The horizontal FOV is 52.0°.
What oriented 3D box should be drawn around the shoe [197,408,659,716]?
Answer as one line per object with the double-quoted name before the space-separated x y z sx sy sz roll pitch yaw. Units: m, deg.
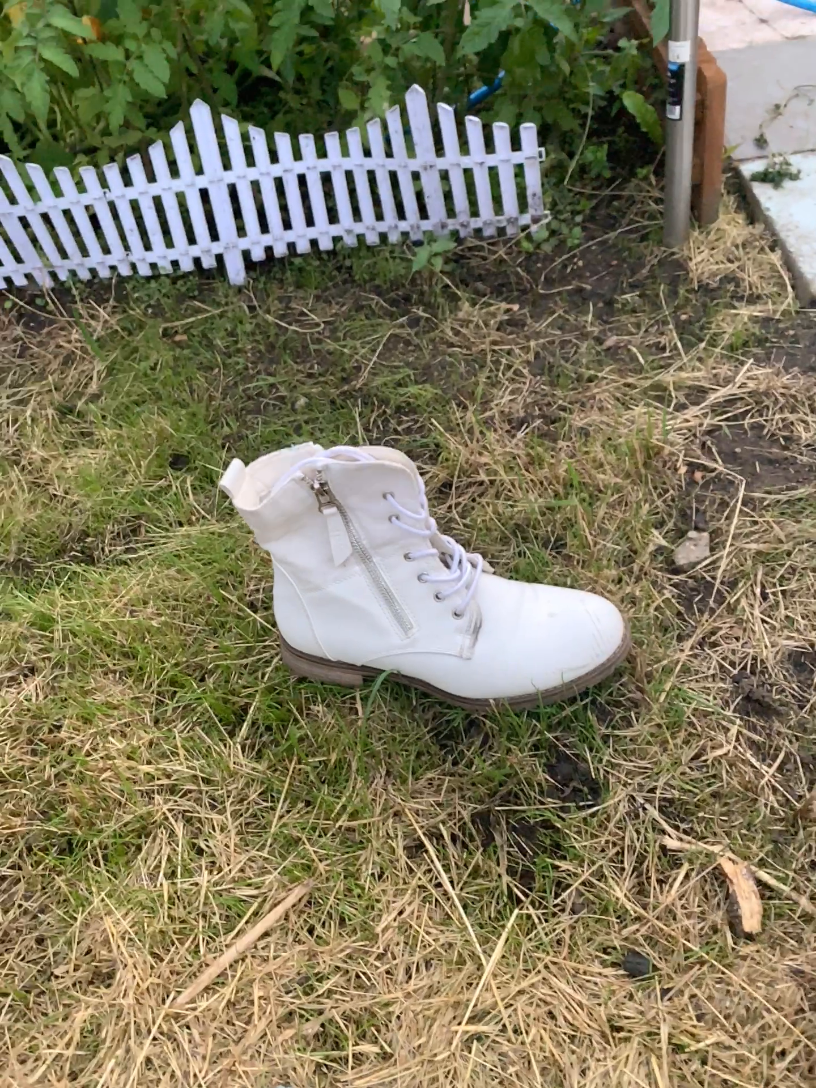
"shoe" 0.025 0.017 0.558 0.260 0.178 0.101 0 46 13
